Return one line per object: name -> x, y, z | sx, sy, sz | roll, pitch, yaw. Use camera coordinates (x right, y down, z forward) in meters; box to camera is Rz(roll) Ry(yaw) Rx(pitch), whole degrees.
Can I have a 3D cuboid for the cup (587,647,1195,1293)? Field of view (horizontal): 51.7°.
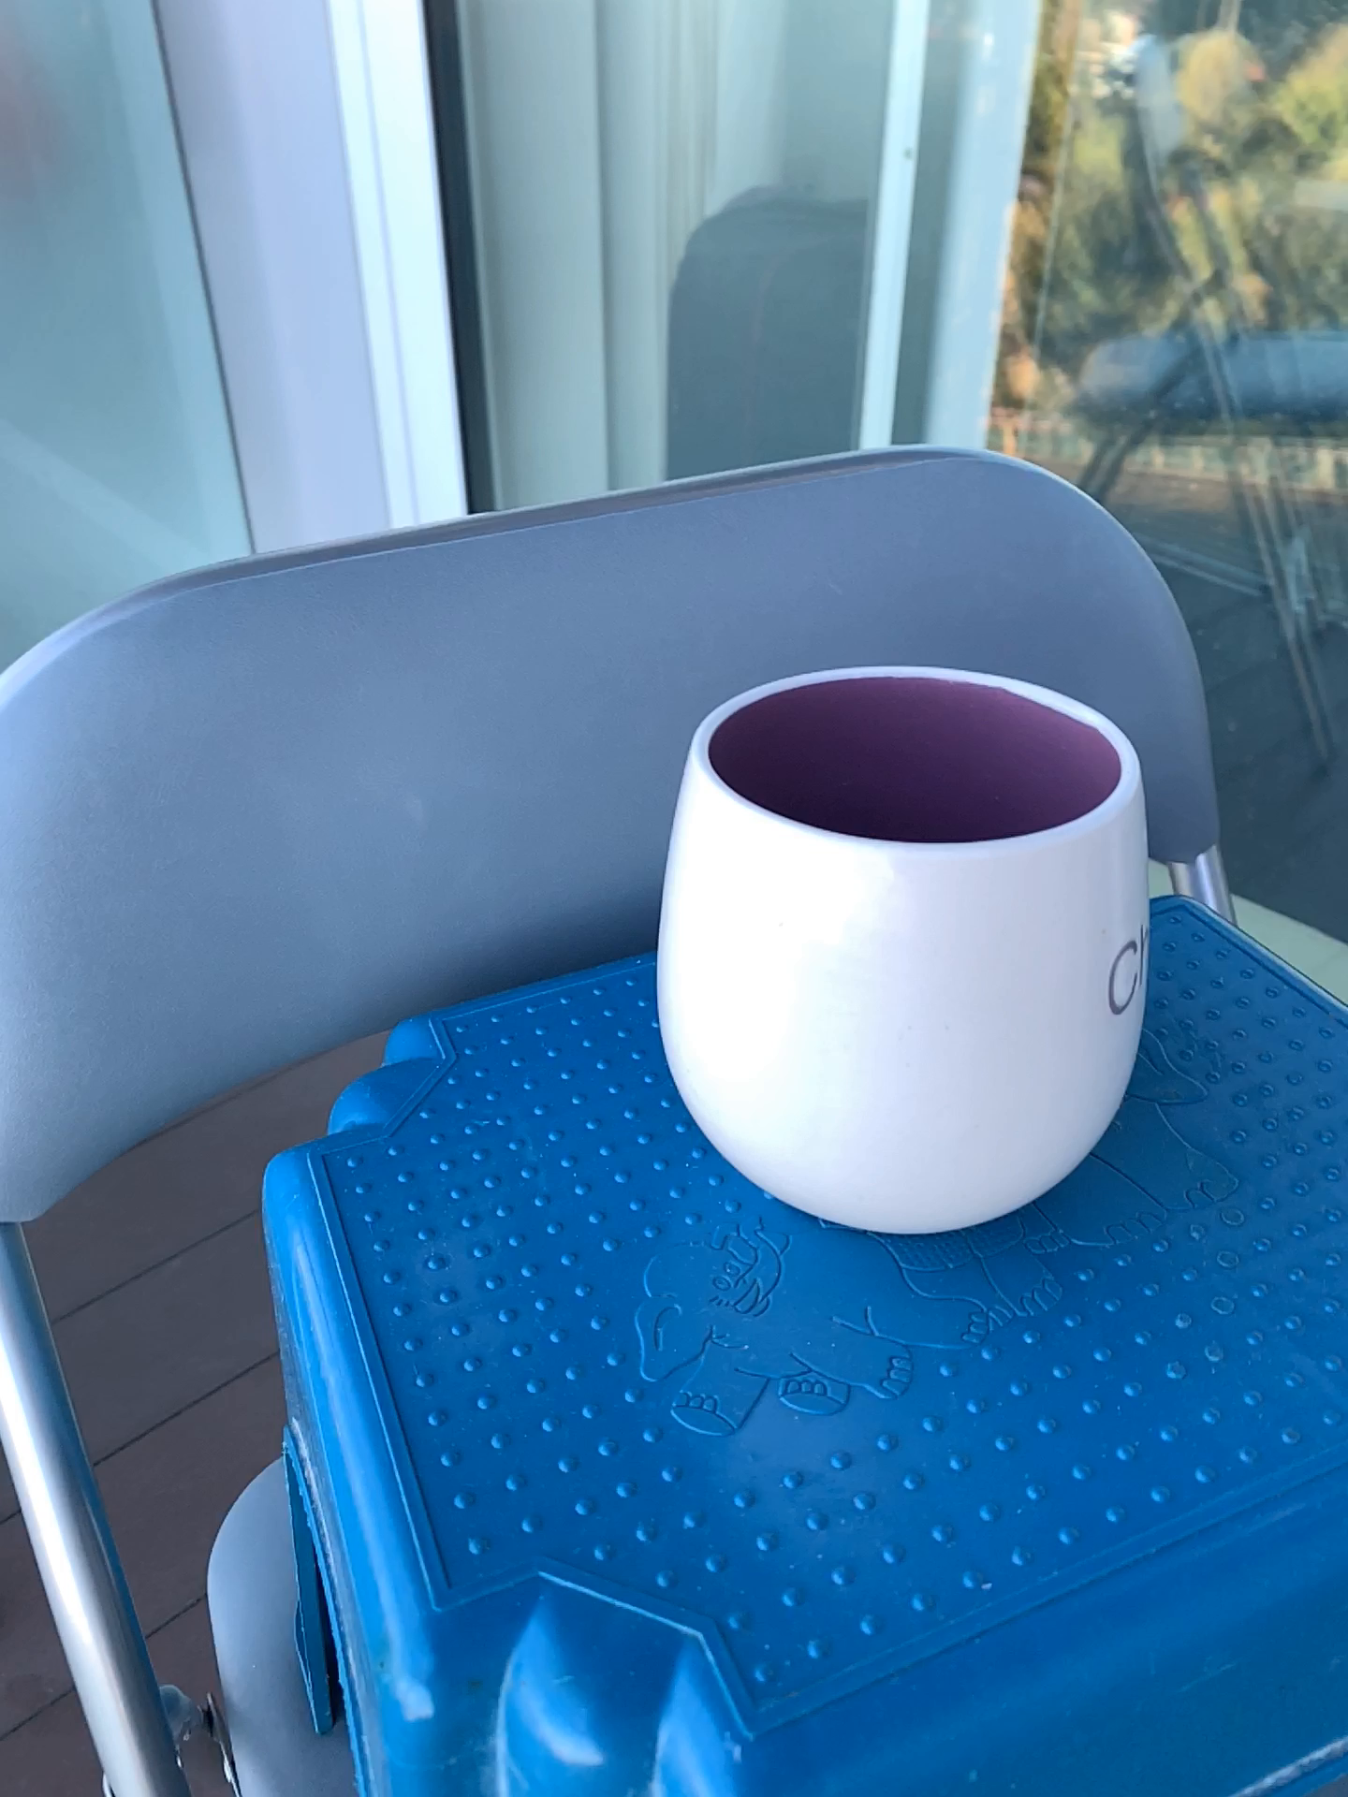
cup -> 0.042, 0.009, 0.311 | 0.104, 0.090, 0.111 | 0, 32, 0
